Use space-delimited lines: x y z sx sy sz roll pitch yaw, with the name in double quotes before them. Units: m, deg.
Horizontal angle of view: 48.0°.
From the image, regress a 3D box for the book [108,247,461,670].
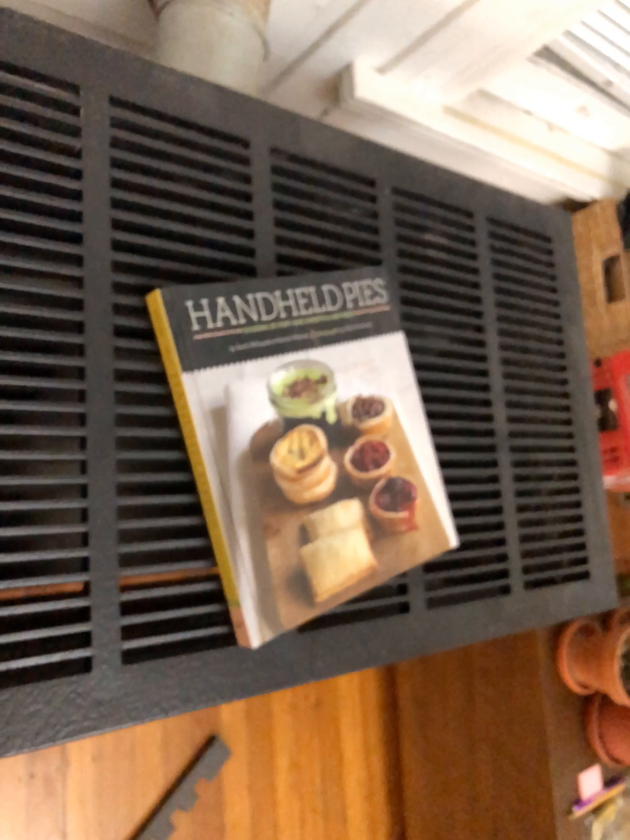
"book" -0.007 0.008 0.462 0.201 0.020 0.230 -16 91 -38
